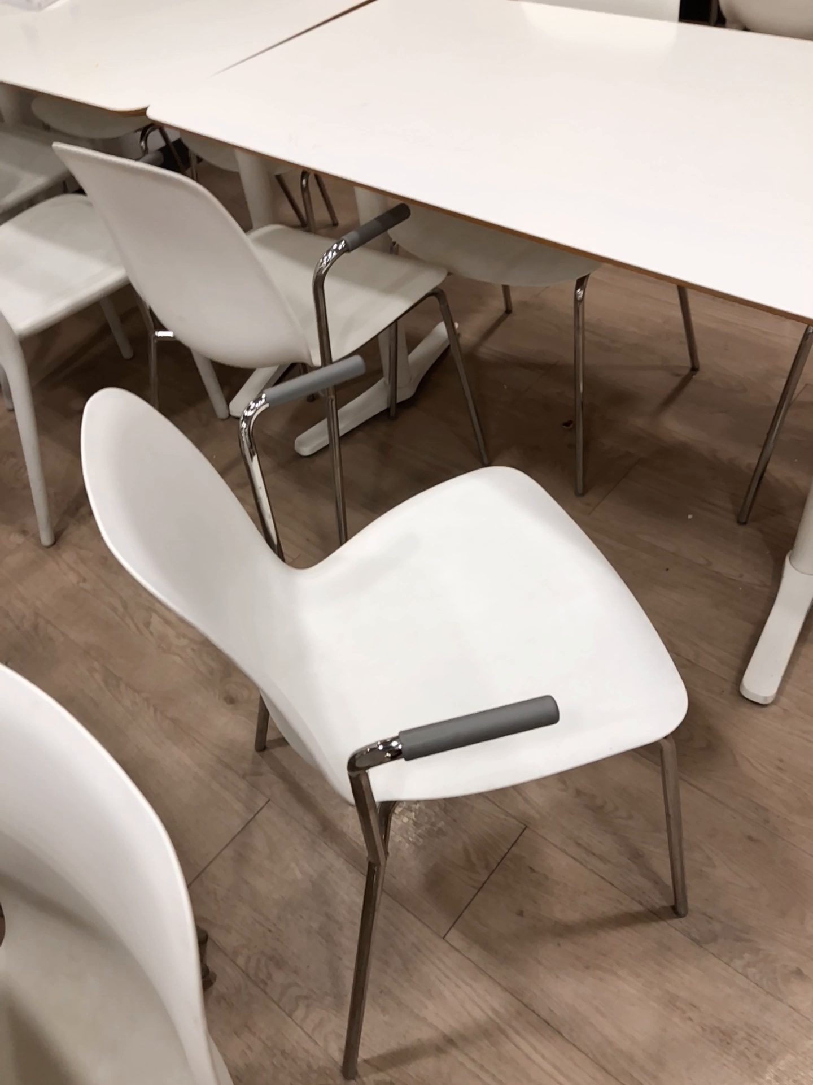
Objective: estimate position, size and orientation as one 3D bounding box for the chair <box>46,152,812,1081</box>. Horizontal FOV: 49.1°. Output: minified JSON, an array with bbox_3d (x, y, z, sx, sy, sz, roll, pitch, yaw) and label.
[{"bbox_3d":[0.018,0.114,1.040,0.530,0.805,0.574,-18,46,-8],"label":"chair"}]
